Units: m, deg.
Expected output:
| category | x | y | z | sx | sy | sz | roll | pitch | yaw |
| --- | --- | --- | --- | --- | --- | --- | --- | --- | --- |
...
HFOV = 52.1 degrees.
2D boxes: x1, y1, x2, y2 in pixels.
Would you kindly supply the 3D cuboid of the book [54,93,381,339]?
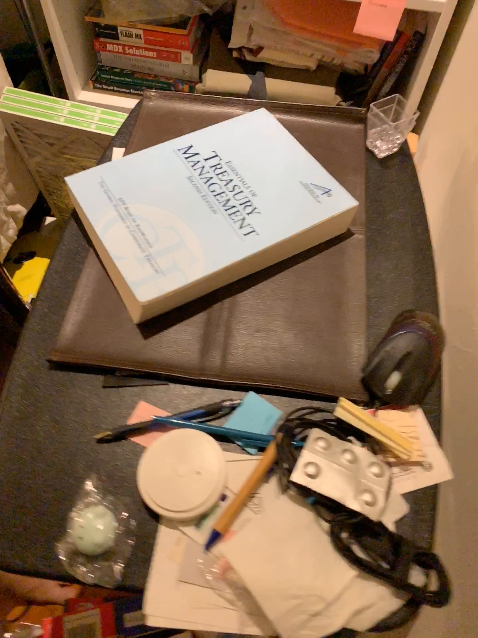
| category | x | y | z | sx | sy | sz | roll | pitch | yaw |
| --- | --- | --- | --- | --- | --- | --- | --- | --- | --- |
| book | -0.027 | -0.138 | 0.577 | 0.300 | 0.060 | 0.221 | -25 | 62 | -16 |
